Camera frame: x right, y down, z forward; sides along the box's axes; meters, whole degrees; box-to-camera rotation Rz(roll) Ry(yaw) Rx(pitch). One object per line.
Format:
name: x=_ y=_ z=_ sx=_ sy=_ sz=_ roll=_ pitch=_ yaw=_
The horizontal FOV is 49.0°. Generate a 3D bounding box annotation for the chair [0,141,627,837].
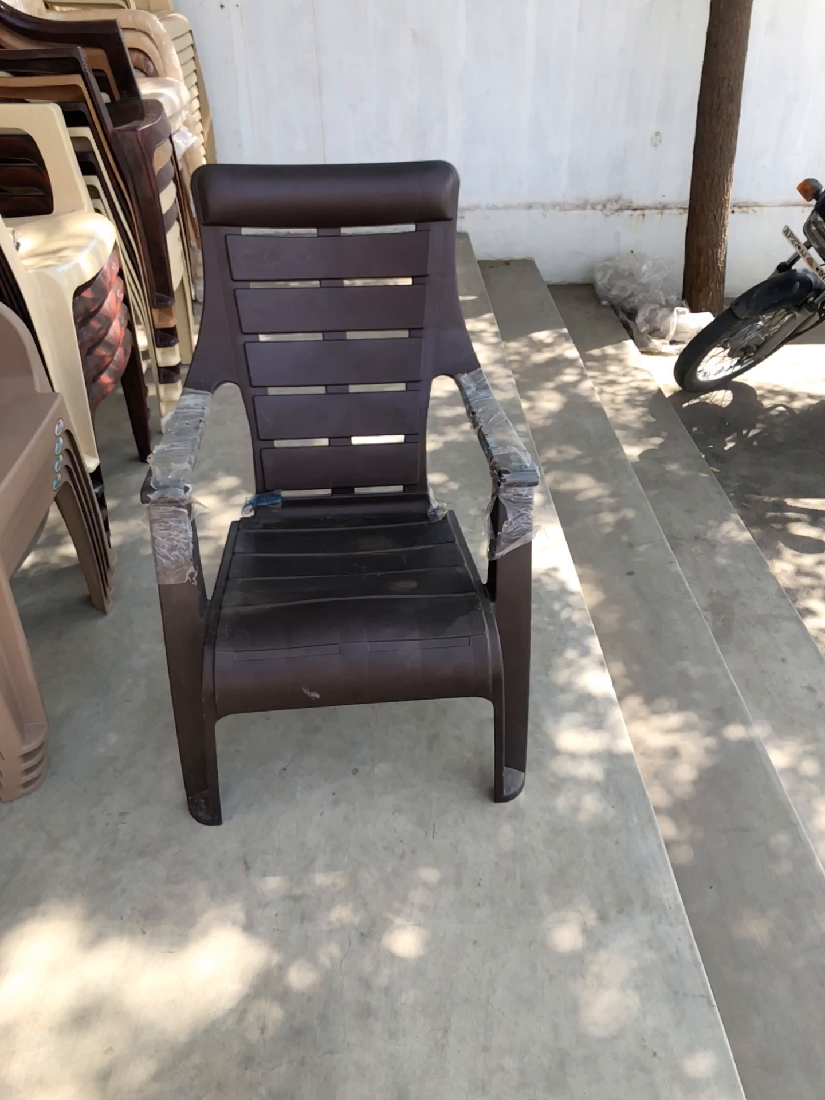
chair: x=-0.131 y=-0.134 z=1.540 sx=0.680 sy=0.876 sz=0.764 roll=-3 pitch=36 yaw=-4
